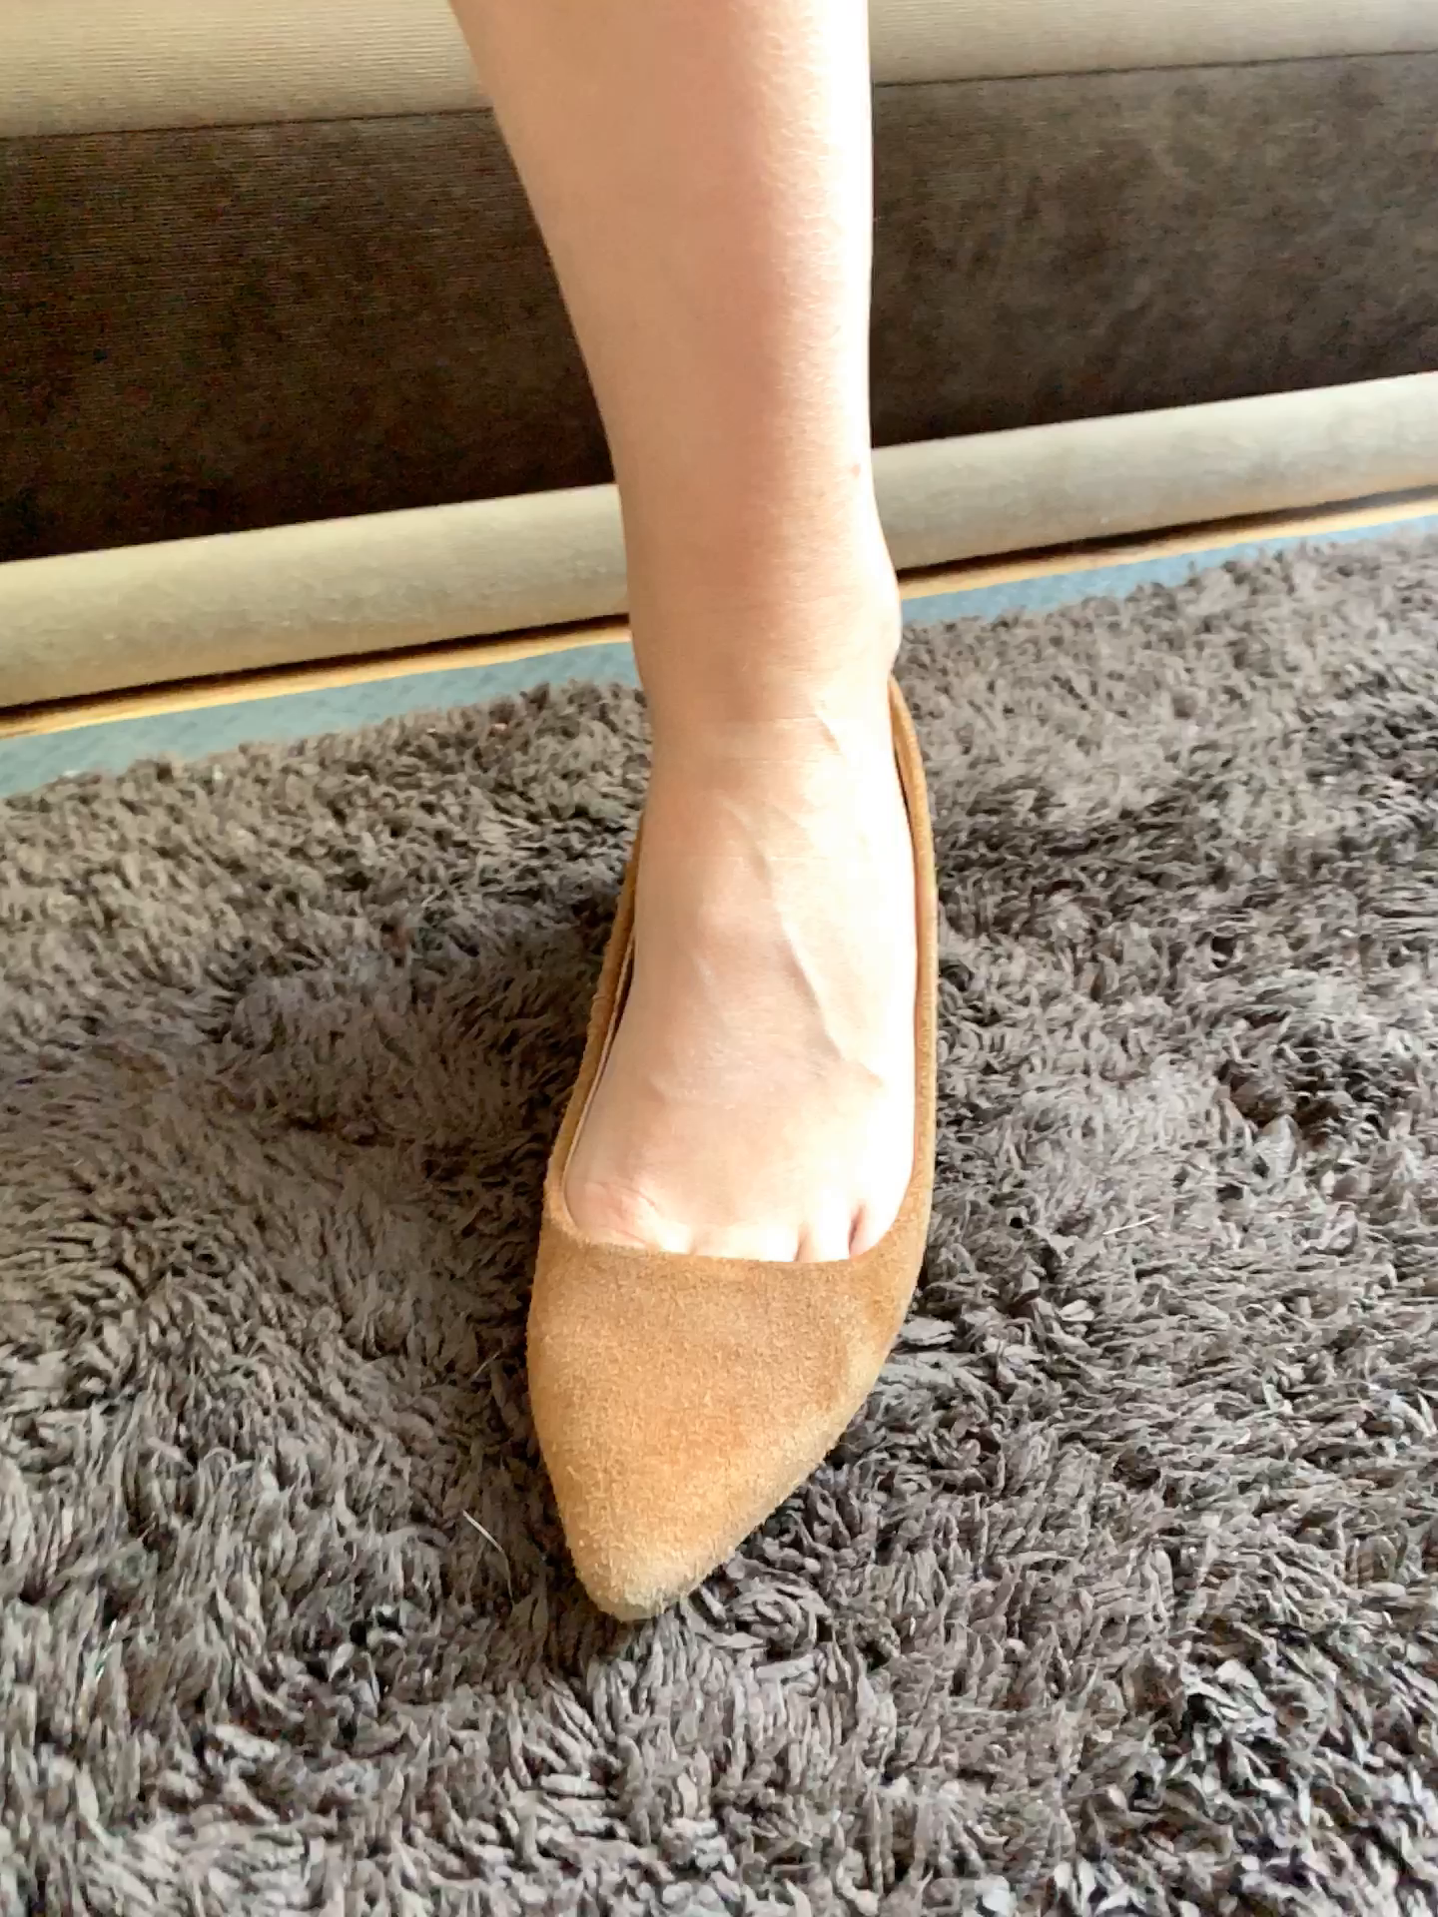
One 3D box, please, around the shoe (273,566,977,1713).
[{"bbox_3d":[0.004,0.008,0.315,0.090,0.080,0.251,5,38,7],"label":"shoe"}]
